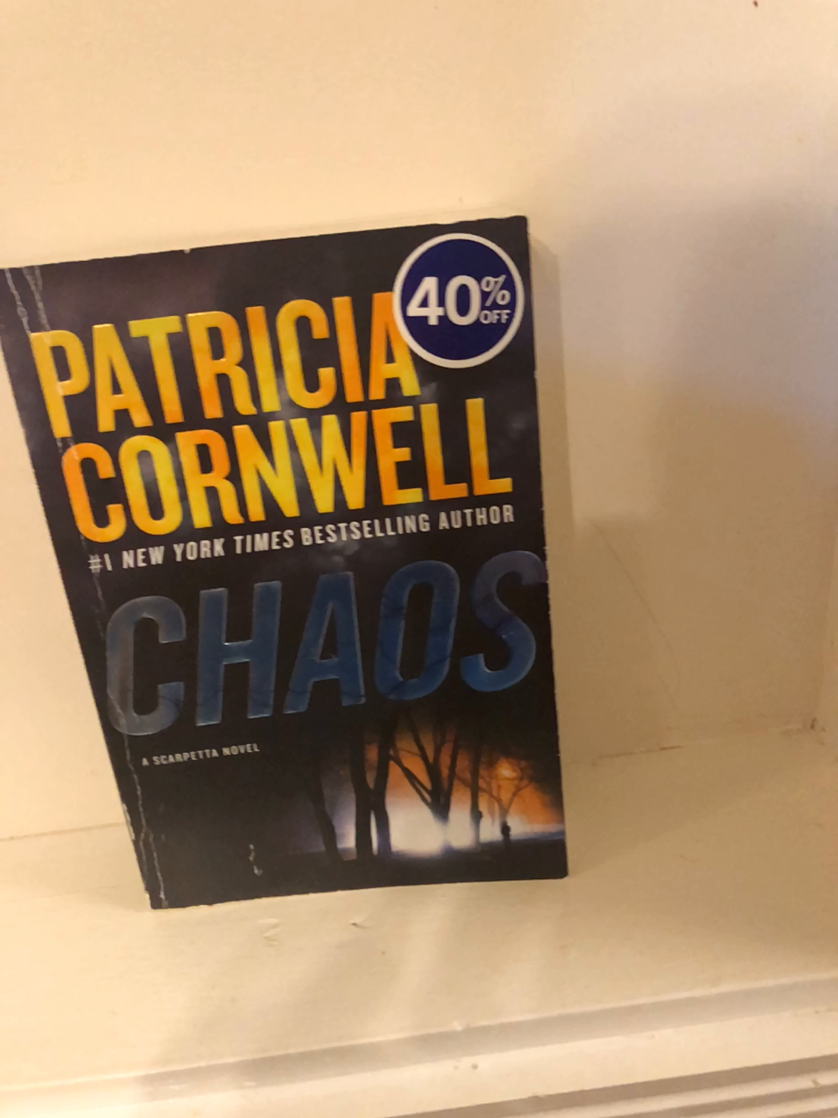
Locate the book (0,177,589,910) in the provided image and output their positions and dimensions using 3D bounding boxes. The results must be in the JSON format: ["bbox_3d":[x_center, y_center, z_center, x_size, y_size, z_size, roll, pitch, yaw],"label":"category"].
[{"bbox_3d":[-0.038,0.002,0.307,0.170,0.219,0.050,-5,18,3],"label":"book"}]
